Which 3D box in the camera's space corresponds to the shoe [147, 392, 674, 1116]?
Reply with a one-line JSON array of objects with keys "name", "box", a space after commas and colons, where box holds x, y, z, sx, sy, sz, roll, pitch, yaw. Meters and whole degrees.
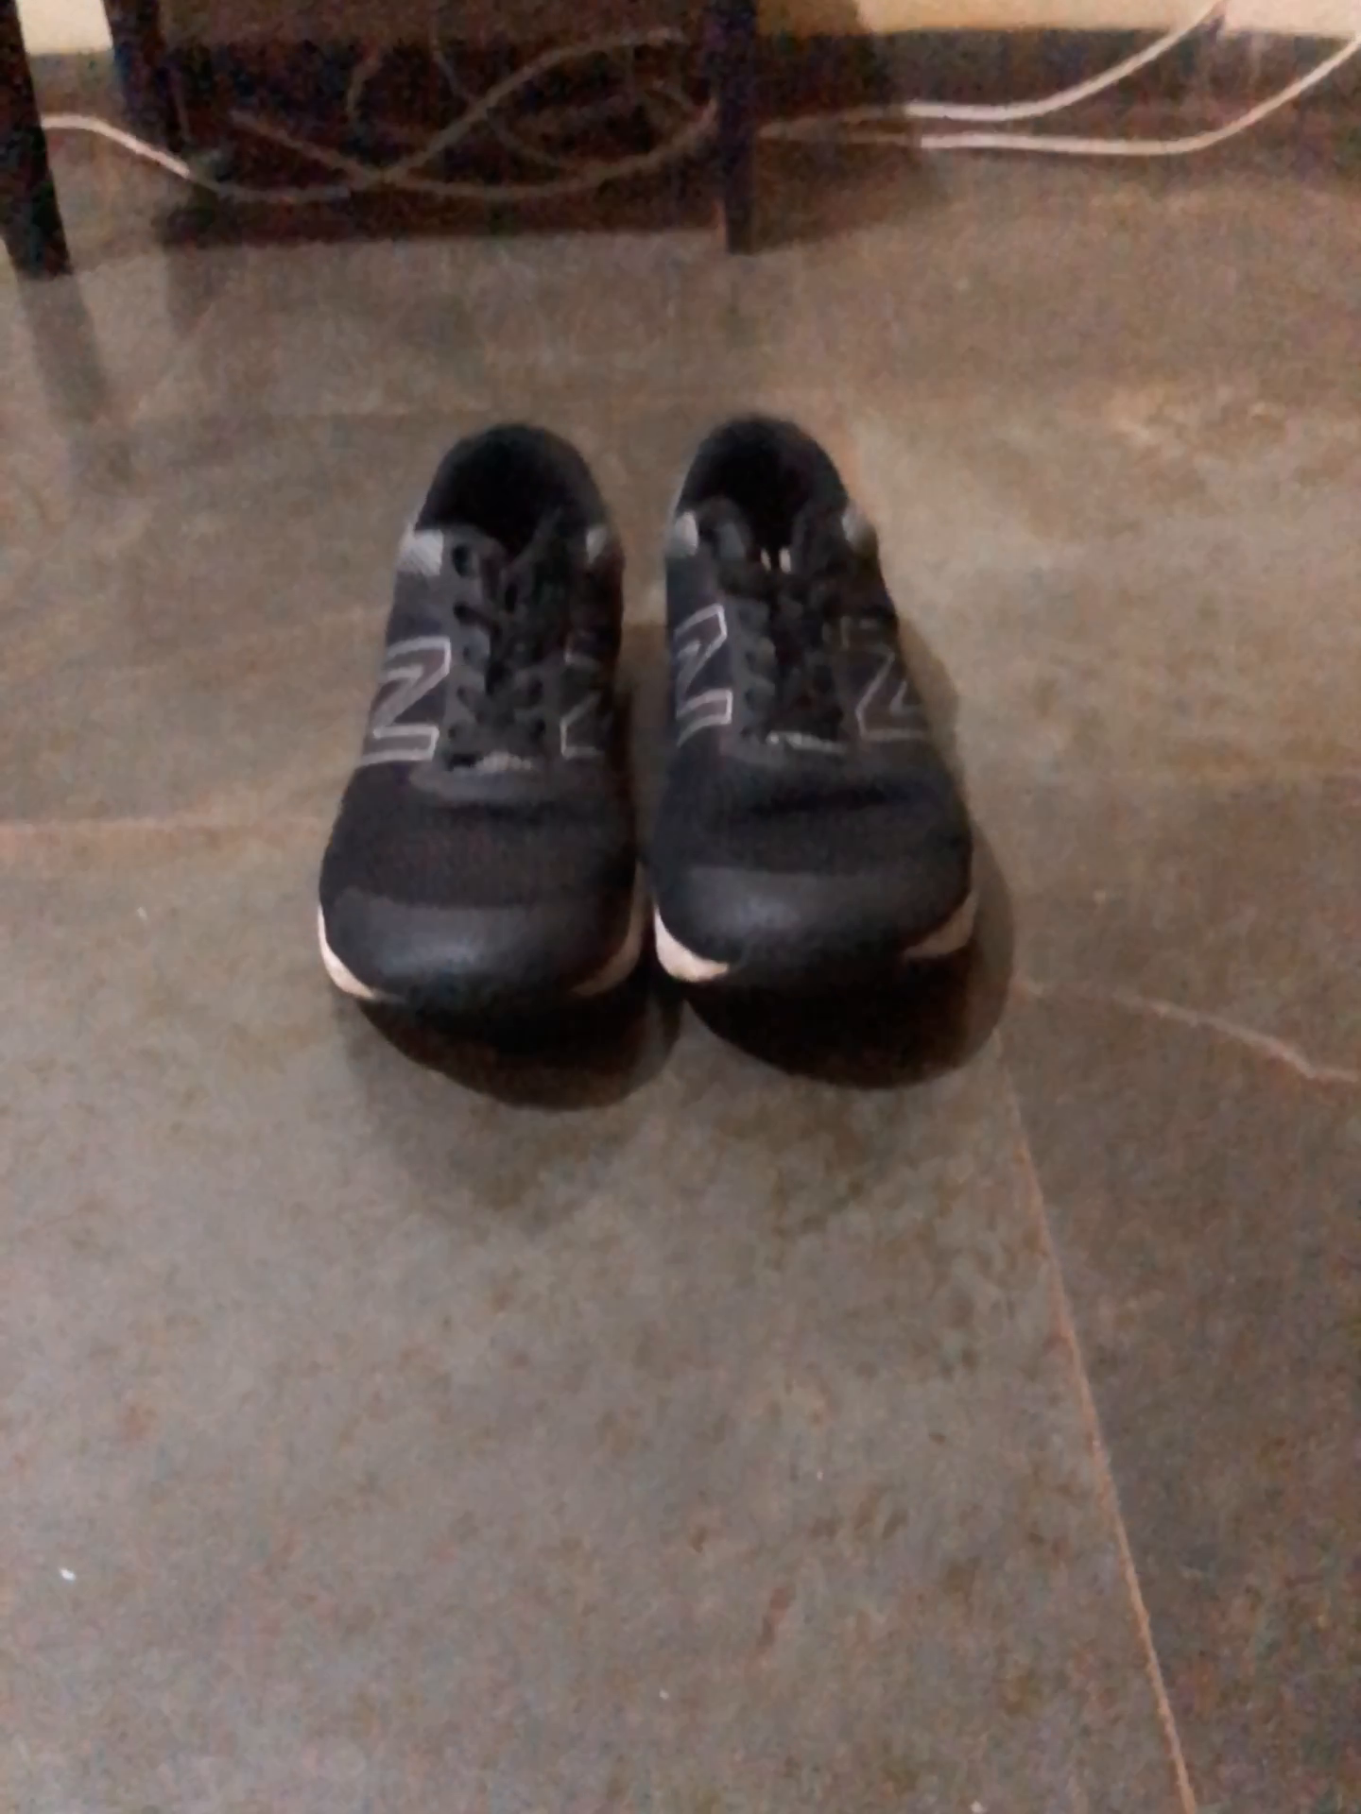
[{"name": "shoe", "box": [-0.073, -0.067, 0.488, 0.120, 0.099, 0.262, -4, 38, -3]}]

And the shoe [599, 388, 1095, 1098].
[{"name": "shoe", "box": [0.036, -0.071, 0.494, 0.110, 0.099, 0.262, -4, 38, -3]}]
